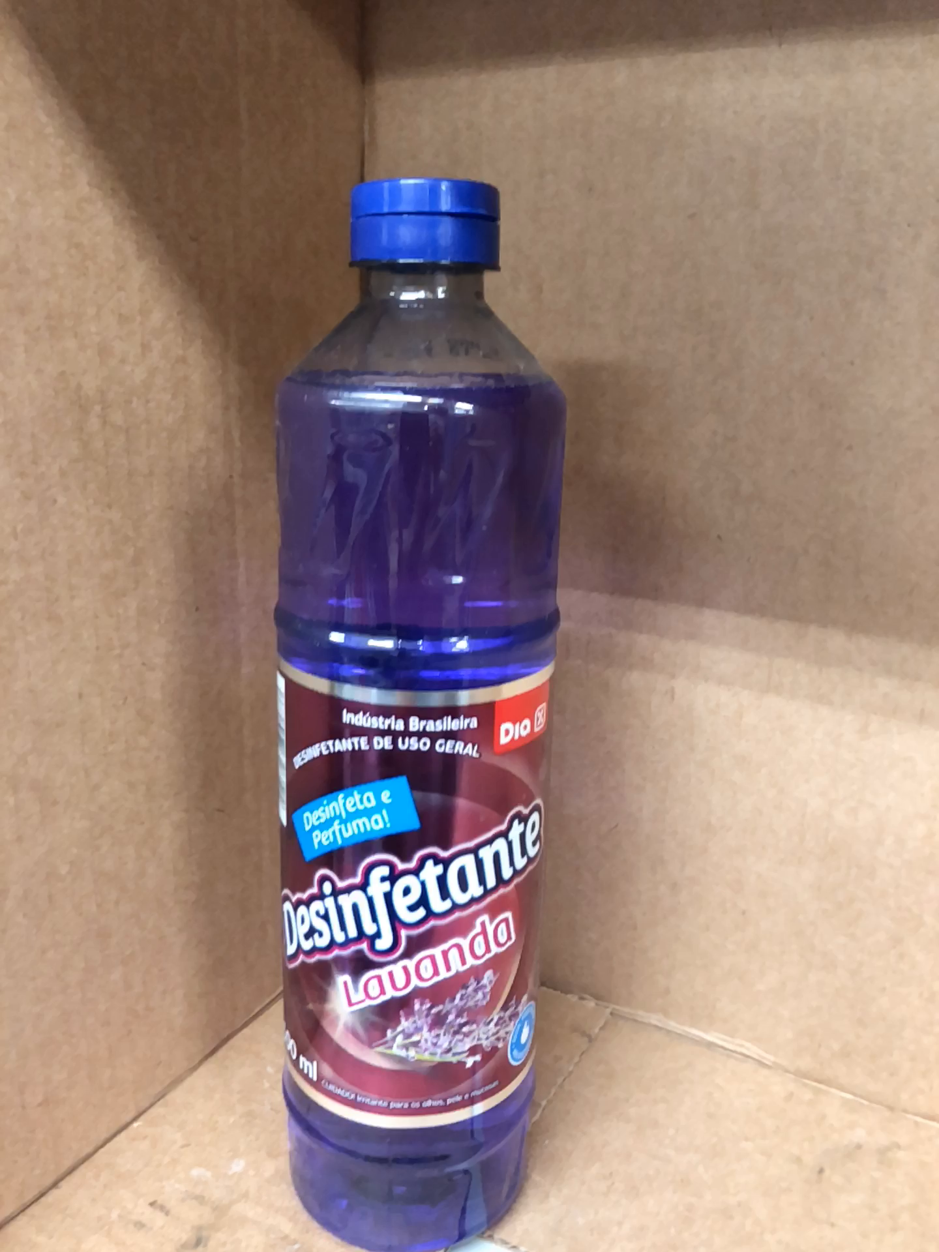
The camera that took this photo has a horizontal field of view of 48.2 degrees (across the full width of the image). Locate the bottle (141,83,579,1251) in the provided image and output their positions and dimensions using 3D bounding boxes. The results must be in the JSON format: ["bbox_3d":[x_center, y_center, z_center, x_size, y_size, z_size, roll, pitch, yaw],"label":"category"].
[{"bbox_3d":[-0.020,0.018,0.236,0.070,0.239,0.070,1,16,0],"label":"bottle"}]
